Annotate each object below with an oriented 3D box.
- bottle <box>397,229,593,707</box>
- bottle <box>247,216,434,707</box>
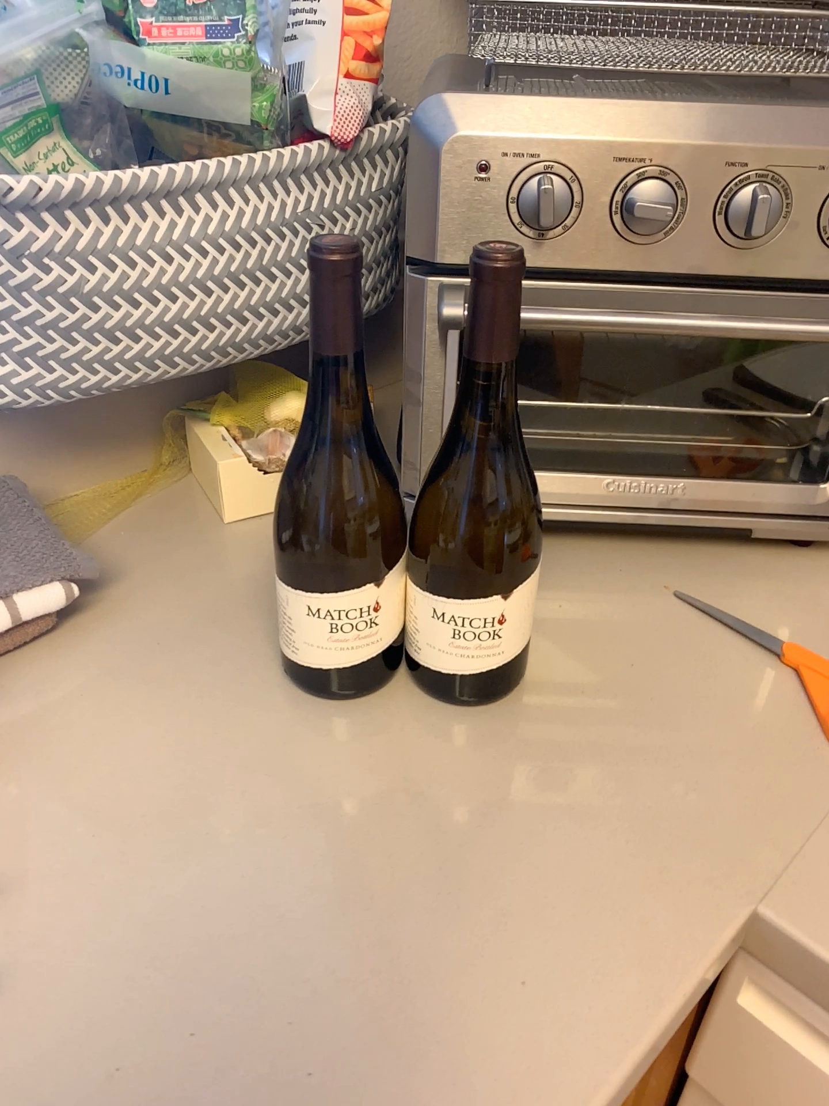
[{"bbox_3d":[0.036,-0.040,0.516,0.090,0.278,0.091,1,34,-1],"label":"bottle"},{"bbox_3d":[-0.045,-0.046,0.526,0.090,0.288,0.091,1,34,-1],"label":"bottle"}]
